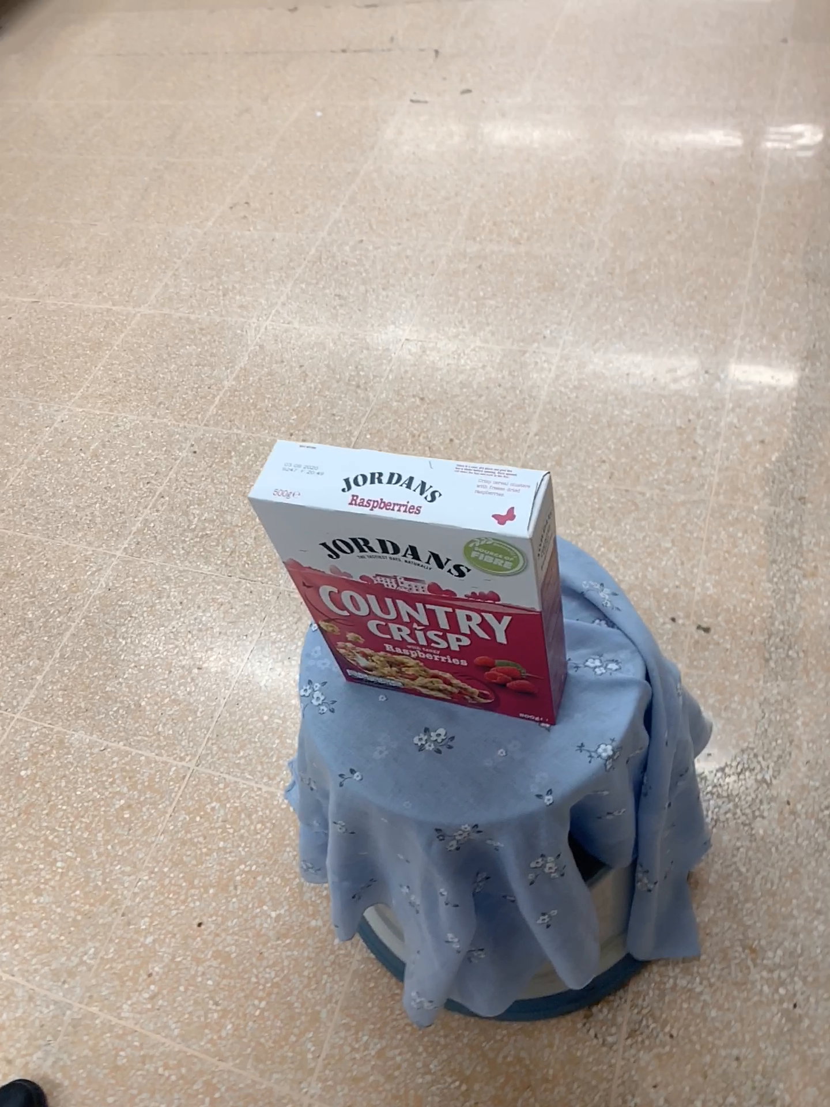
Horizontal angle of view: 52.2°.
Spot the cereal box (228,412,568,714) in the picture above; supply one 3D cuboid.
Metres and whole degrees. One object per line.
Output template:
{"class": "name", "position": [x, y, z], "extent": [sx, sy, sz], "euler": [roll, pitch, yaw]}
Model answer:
{"class": "cereal box", "position": [0.006, 0.018, 0.637], "extent": [0.200, 0.268, 0.060], "euler": [10, 59, 18]}
